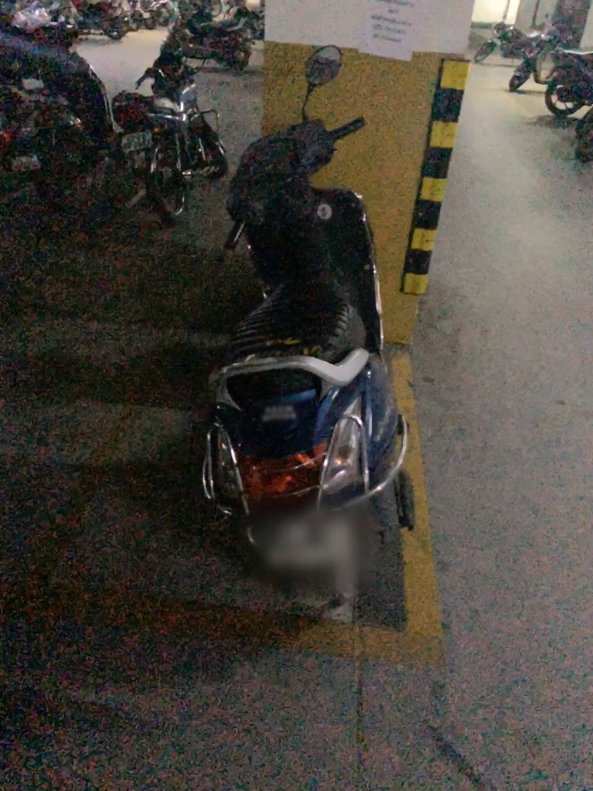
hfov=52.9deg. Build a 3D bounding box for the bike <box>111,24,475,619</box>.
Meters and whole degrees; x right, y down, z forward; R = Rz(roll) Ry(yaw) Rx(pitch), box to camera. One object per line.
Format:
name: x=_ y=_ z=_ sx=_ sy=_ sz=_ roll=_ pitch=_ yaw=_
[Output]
bike: x=-0.088 y=-0.287 z=1.778 sx=0.630 sy=1.063 sz=1.276 roll=0 pitch=41 yaw=-6
